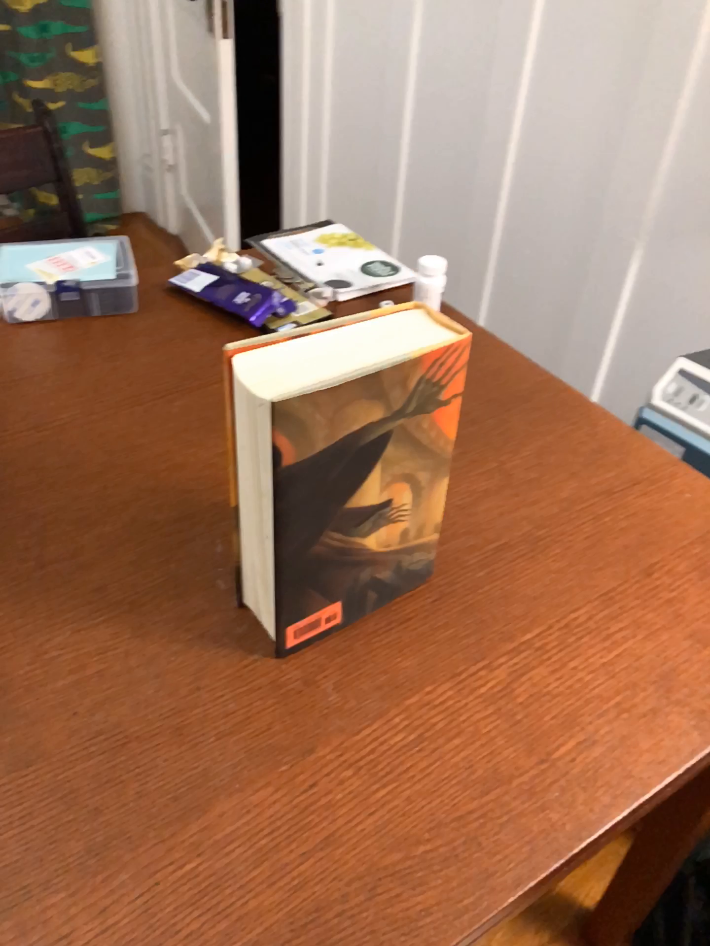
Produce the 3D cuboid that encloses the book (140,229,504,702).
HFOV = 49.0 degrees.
[{"bbox_3d":[-0.021,0.001,0.555,0.210,0.298,0.070,-20,44,-27],"label":"book"}]
